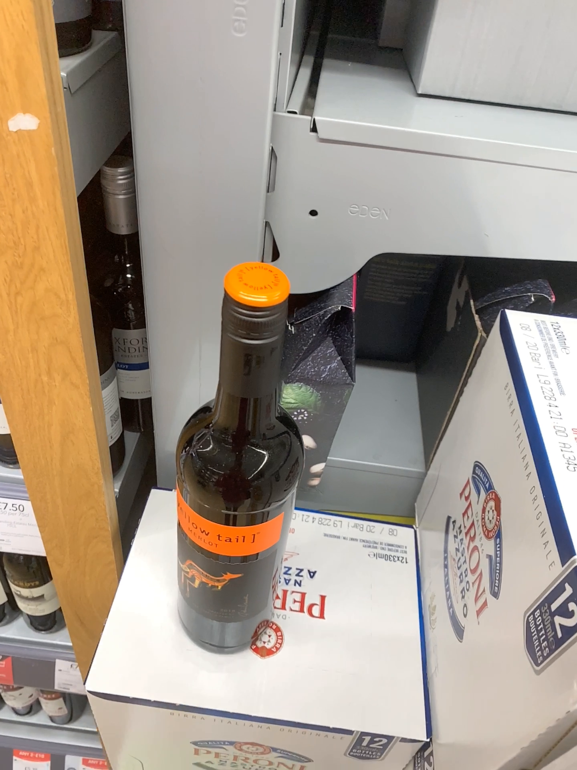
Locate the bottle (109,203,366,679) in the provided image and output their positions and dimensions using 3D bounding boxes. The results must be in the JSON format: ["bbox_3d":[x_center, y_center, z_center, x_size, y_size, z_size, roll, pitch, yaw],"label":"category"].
[{"bbox_3d":[-0.034,0.058,0.347,0.078,0.297,0.077,5,43,-4],"label":"bottle"}]
